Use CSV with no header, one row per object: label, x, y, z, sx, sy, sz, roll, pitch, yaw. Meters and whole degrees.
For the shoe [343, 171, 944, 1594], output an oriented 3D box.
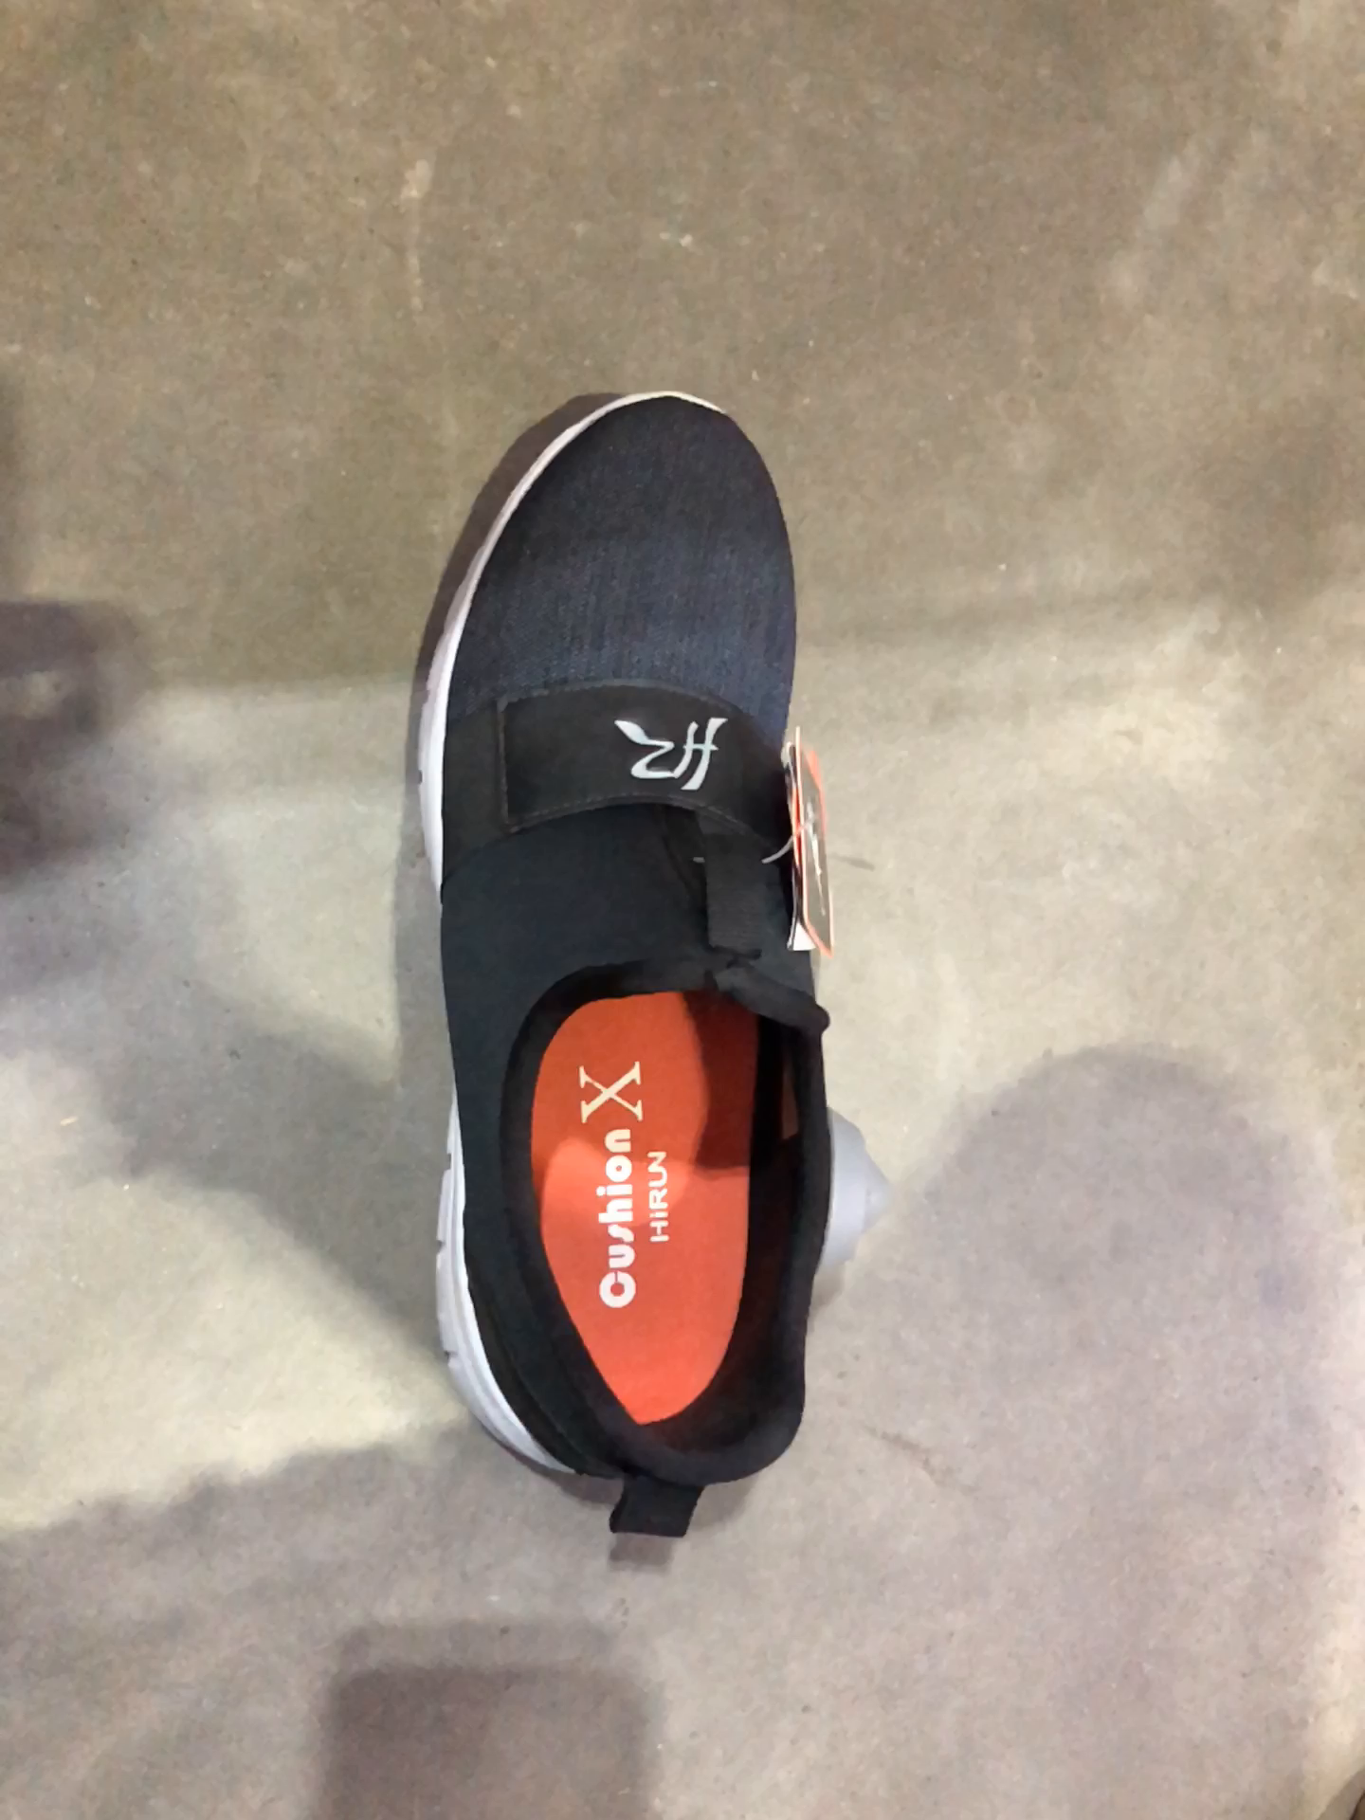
shoe,-0.016,-0.002,0.360,0.100,0.130,0.270,5,83,-15
